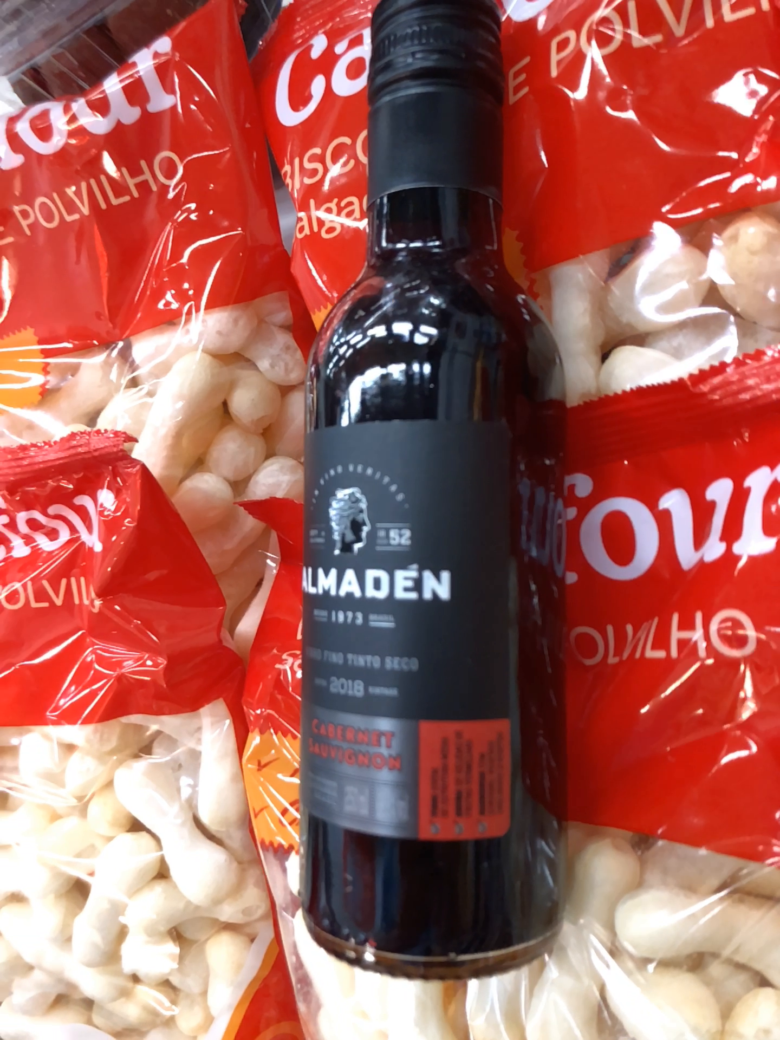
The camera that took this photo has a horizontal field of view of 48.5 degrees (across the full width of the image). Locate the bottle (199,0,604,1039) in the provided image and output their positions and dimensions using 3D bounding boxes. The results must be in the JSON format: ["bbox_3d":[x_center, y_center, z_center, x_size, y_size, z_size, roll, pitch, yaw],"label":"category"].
[{"bbox_3d":[0.008,-0.029,0.195,0.060,0.060,0.240,-3,82,35],"label":"bottle"}]
